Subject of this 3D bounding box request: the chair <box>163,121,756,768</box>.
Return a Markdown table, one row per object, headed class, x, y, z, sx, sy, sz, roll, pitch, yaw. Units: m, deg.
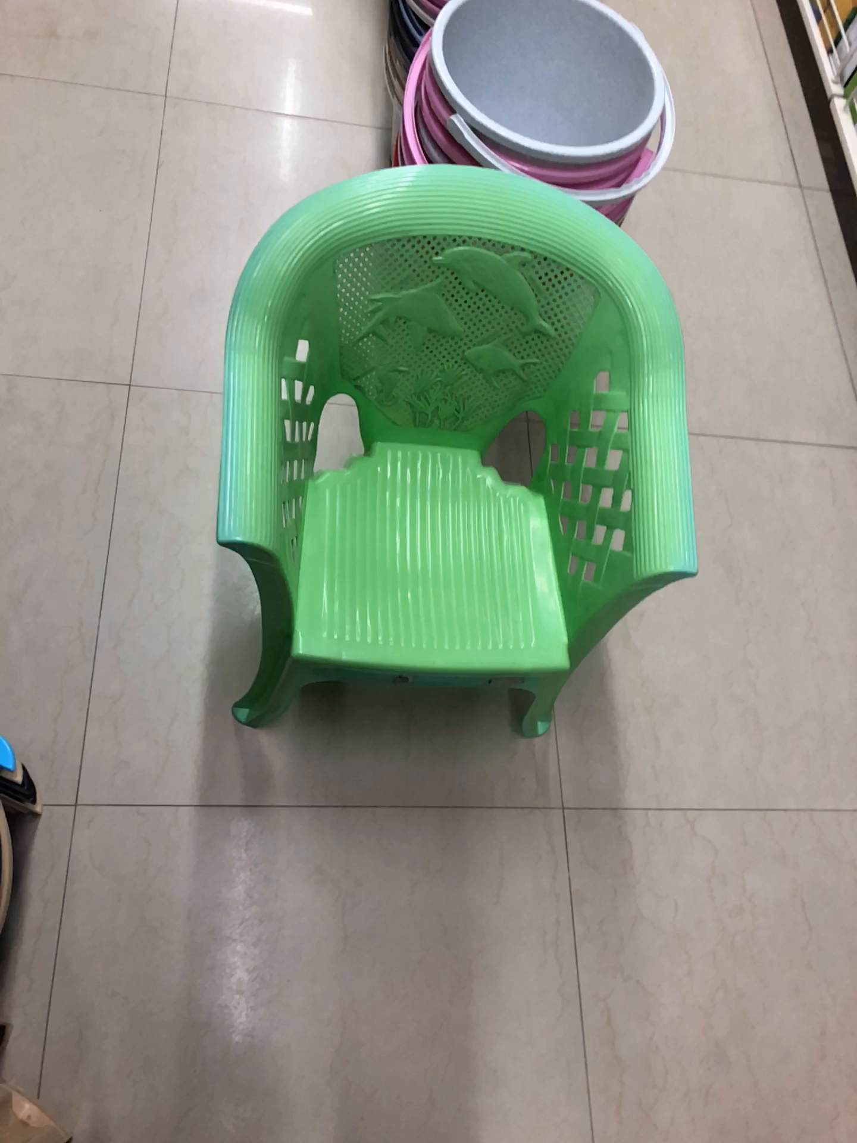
| class | x | y | z | sx | sy | sz | roll | pitch | yaw |
| --- | --- | --- | --- | --- | --- | --- | --- | --- | --- |
| chair | -0.006 | -0.088 | 0.944 | 0.430 | 0.398 | 0.472 | 4 | 65 | -10 |
